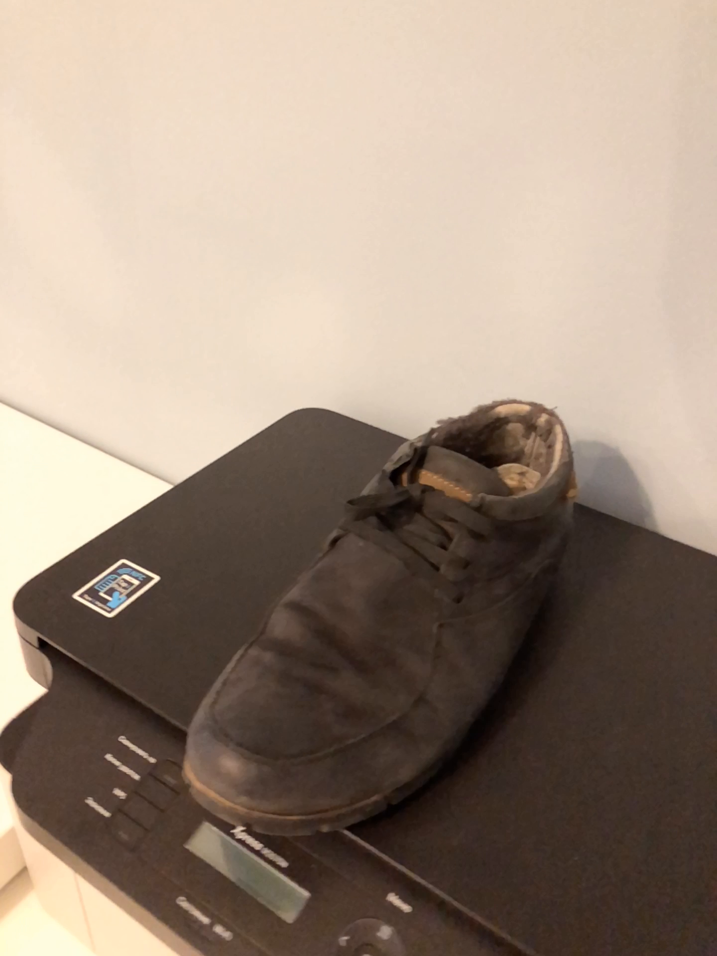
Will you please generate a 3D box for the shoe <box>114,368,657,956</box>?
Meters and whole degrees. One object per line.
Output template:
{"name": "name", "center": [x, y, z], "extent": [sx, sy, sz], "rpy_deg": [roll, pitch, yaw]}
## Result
{"name": "shoe", "center": [0.033, 0.059, 0.395], "extent": [0.110, 0.109, 0.282], "rpy_deg": [25, 40, 28]}
